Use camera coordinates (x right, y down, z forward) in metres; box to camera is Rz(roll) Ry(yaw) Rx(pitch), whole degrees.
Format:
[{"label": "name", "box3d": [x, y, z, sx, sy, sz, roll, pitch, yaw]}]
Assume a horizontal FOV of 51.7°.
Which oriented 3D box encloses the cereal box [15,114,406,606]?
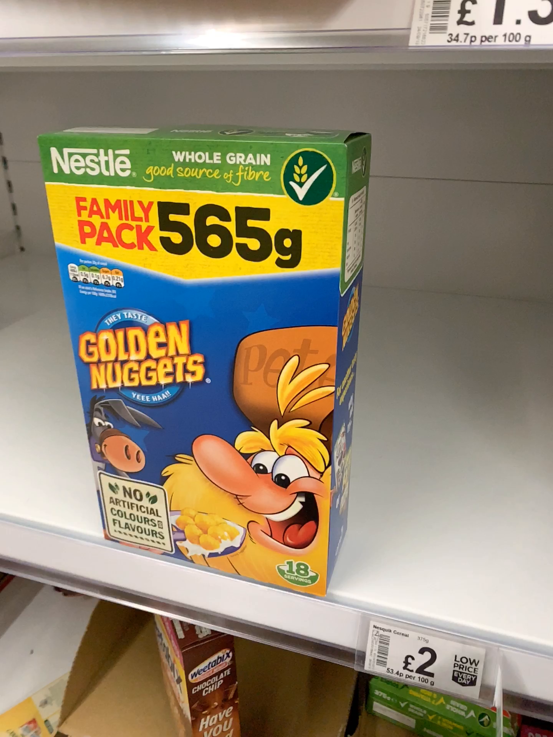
[{"label": "cereal box", "box3d": [-0.036, -0.007, 0.401, 0.210, 0.307, 0.091, 9, 27, 17]}]
